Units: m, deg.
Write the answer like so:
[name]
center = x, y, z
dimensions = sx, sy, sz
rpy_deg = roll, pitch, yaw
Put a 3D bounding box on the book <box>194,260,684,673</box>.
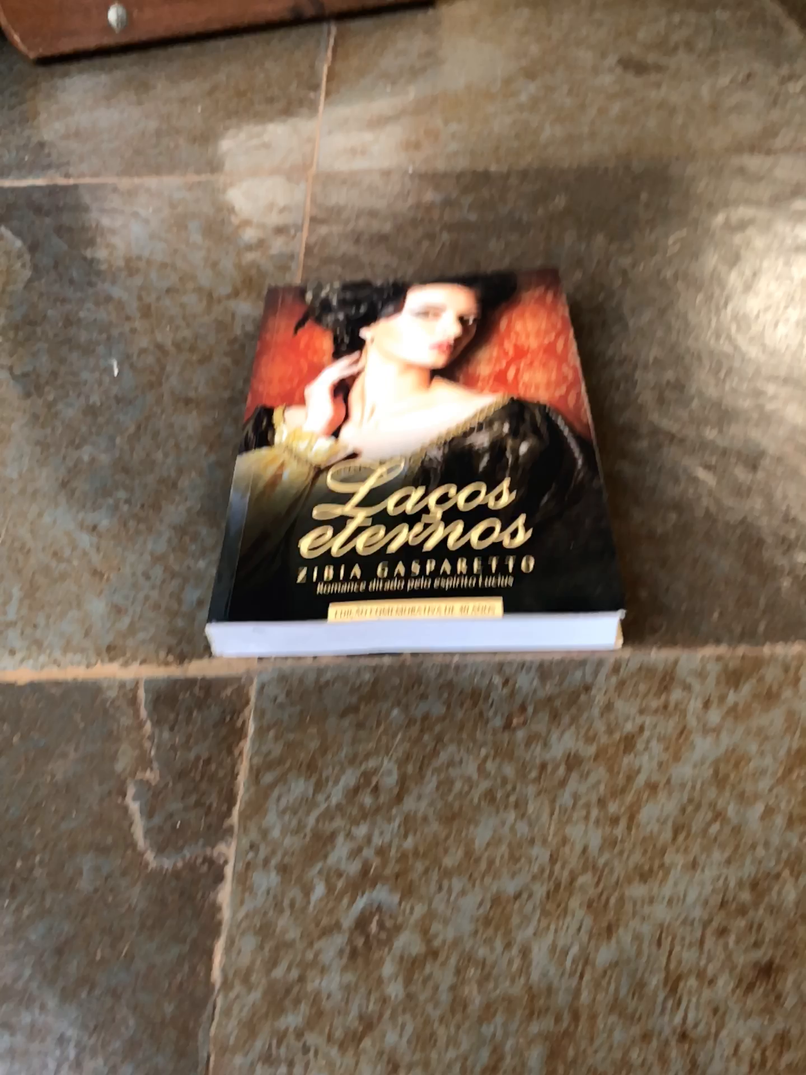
[book]
center = 0.011, -0.042, 0.359
dimensions = 0.153, 0.026, 0.206
rpy_deg = -2, 48, 1
